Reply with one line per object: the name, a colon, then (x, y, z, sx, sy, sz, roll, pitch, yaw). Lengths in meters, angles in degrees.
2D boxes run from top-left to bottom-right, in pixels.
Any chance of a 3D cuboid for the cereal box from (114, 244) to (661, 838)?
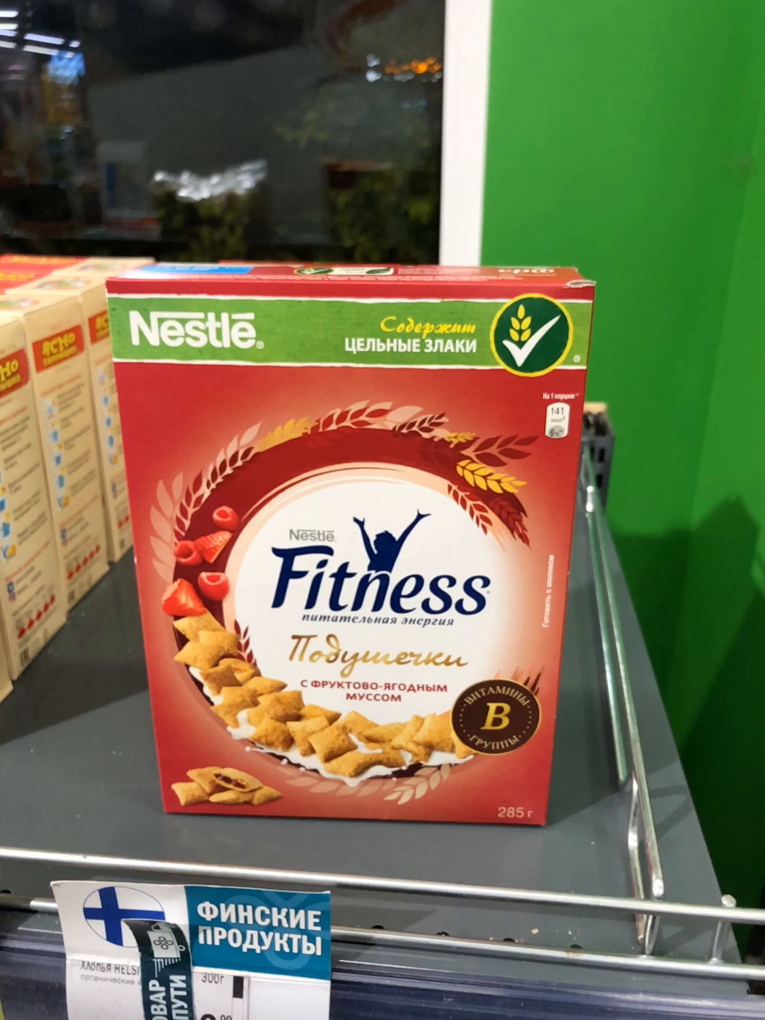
cereal box: (0.001, 0.018, 0.369, 0.190, 0.249, 0.060, 1, 21, 2)
